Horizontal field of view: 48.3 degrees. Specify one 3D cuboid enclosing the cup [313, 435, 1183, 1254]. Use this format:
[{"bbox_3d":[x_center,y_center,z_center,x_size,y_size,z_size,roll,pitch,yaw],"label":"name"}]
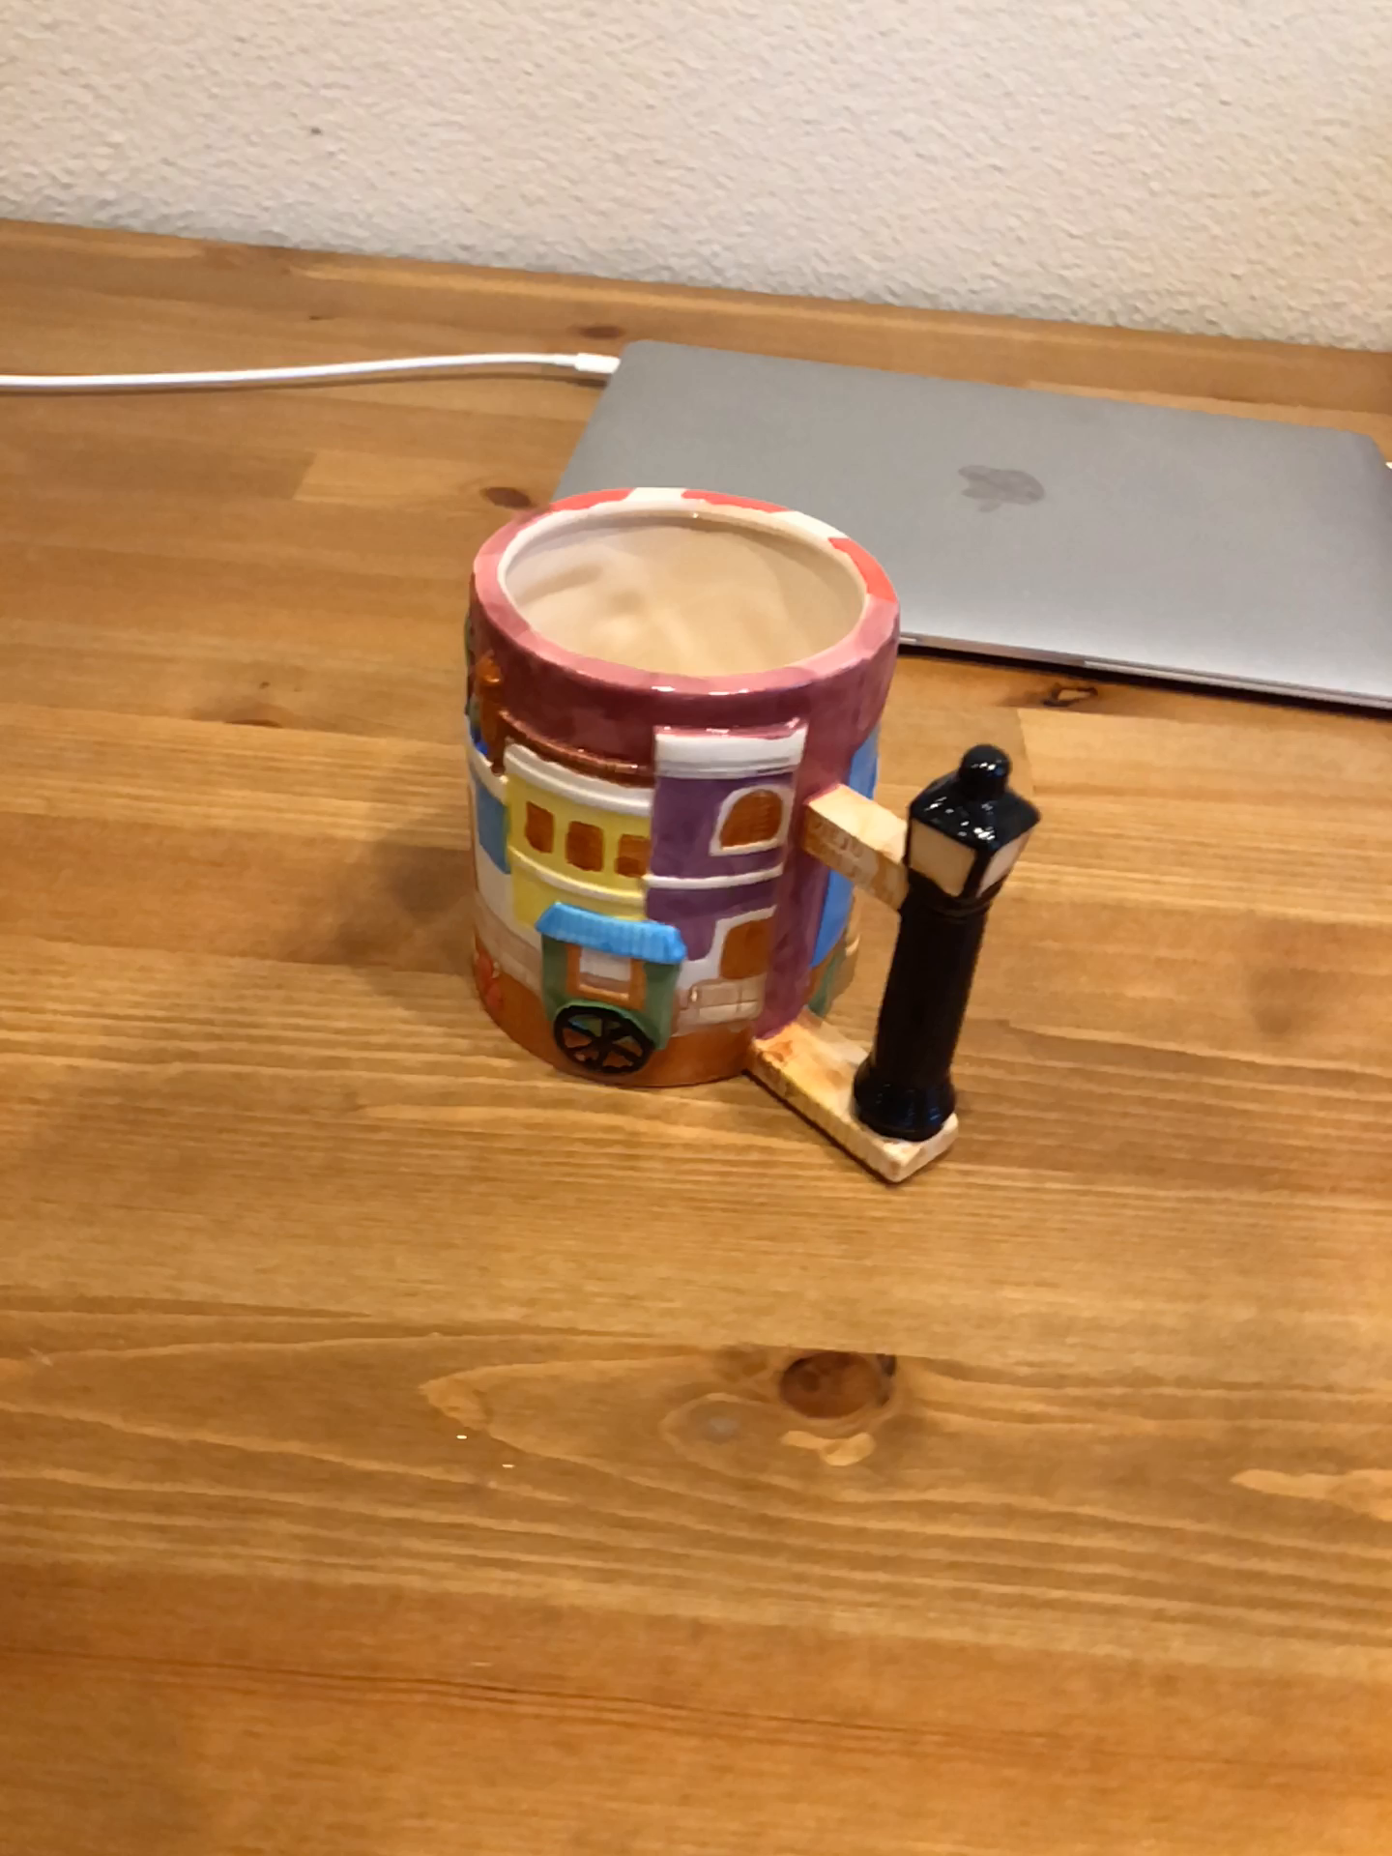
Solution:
[{"bbox_3d":[0.007,-0.024,0.309,0.130,0.090,0.090,26,43,24],"label":"cup"}]
